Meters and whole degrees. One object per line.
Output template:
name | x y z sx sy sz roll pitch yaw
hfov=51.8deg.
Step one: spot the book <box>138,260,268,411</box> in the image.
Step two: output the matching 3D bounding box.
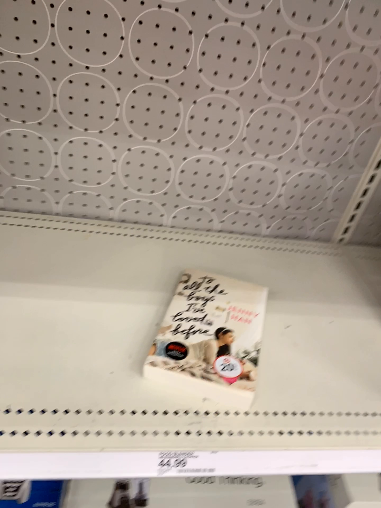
book | 0.029 0.102 0.568 0.144 0.034 0.214 16 37 4
